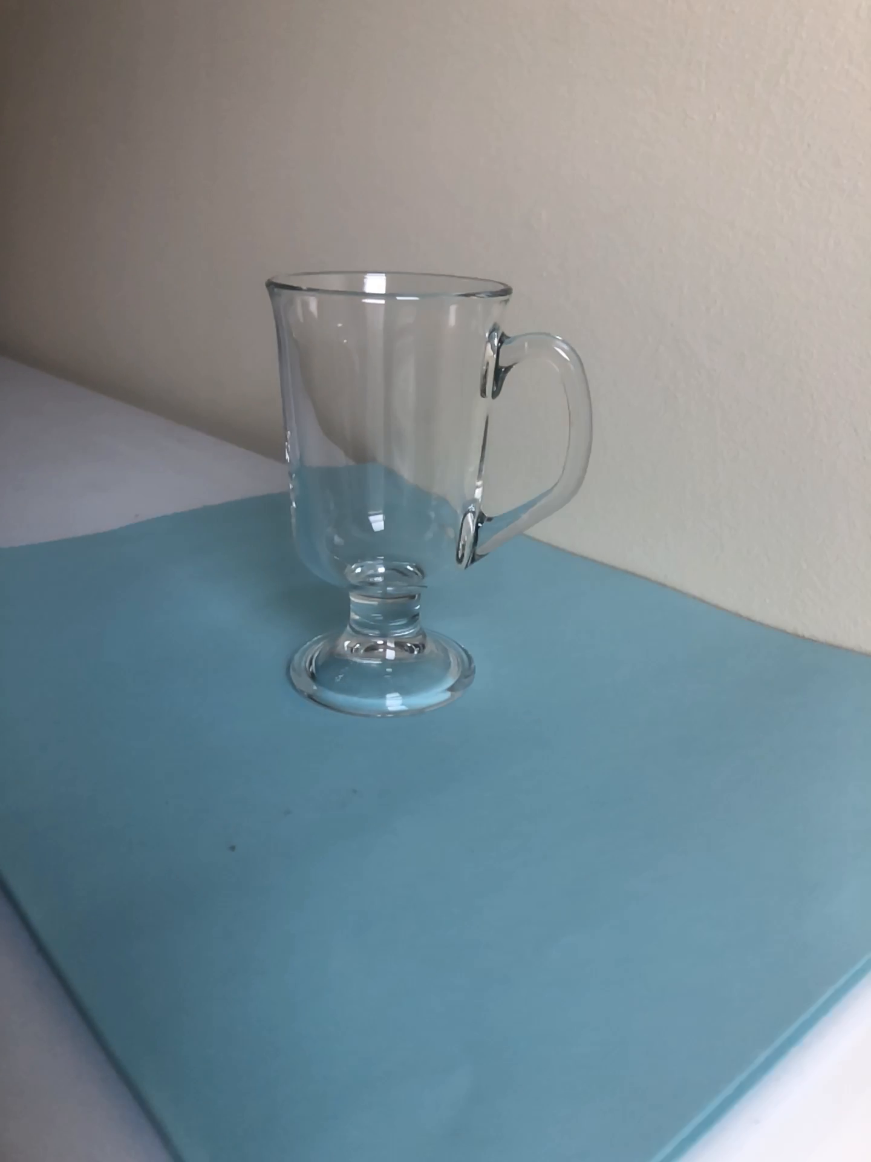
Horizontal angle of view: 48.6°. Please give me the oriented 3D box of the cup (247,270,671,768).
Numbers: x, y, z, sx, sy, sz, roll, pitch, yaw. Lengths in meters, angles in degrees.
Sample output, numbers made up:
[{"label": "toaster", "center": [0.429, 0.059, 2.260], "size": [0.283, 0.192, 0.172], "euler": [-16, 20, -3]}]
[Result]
[{"label": "cup", "center": [0.009, -0.023, 0.278], "size": [0.100, 0.119, 0.070], "euler": [5, 22, 10]}]
